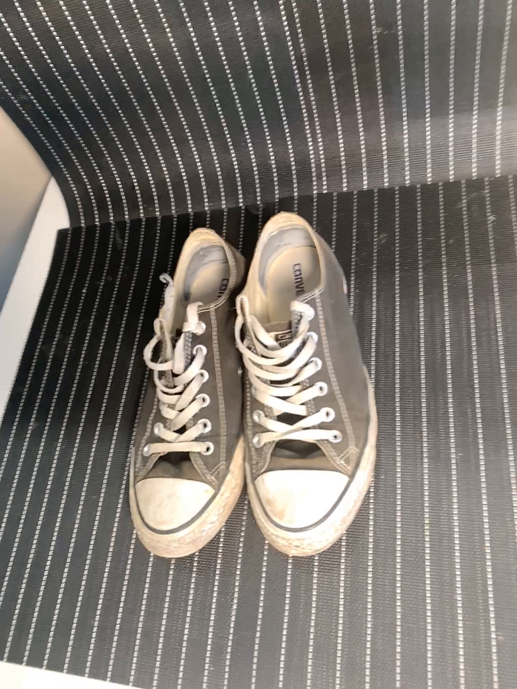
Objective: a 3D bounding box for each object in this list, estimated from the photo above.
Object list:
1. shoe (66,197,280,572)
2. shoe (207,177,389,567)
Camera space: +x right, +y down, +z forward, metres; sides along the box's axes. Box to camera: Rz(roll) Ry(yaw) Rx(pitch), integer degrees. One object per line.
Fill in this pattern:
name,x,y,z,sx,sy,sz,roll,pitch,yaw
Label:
shoe,-0.057,0.025,0.455,0.110,0.080,0.300,-2,64,18
shoe,0.033,0.016,0.433,0.110,0.080,0.300,-7,63,16
